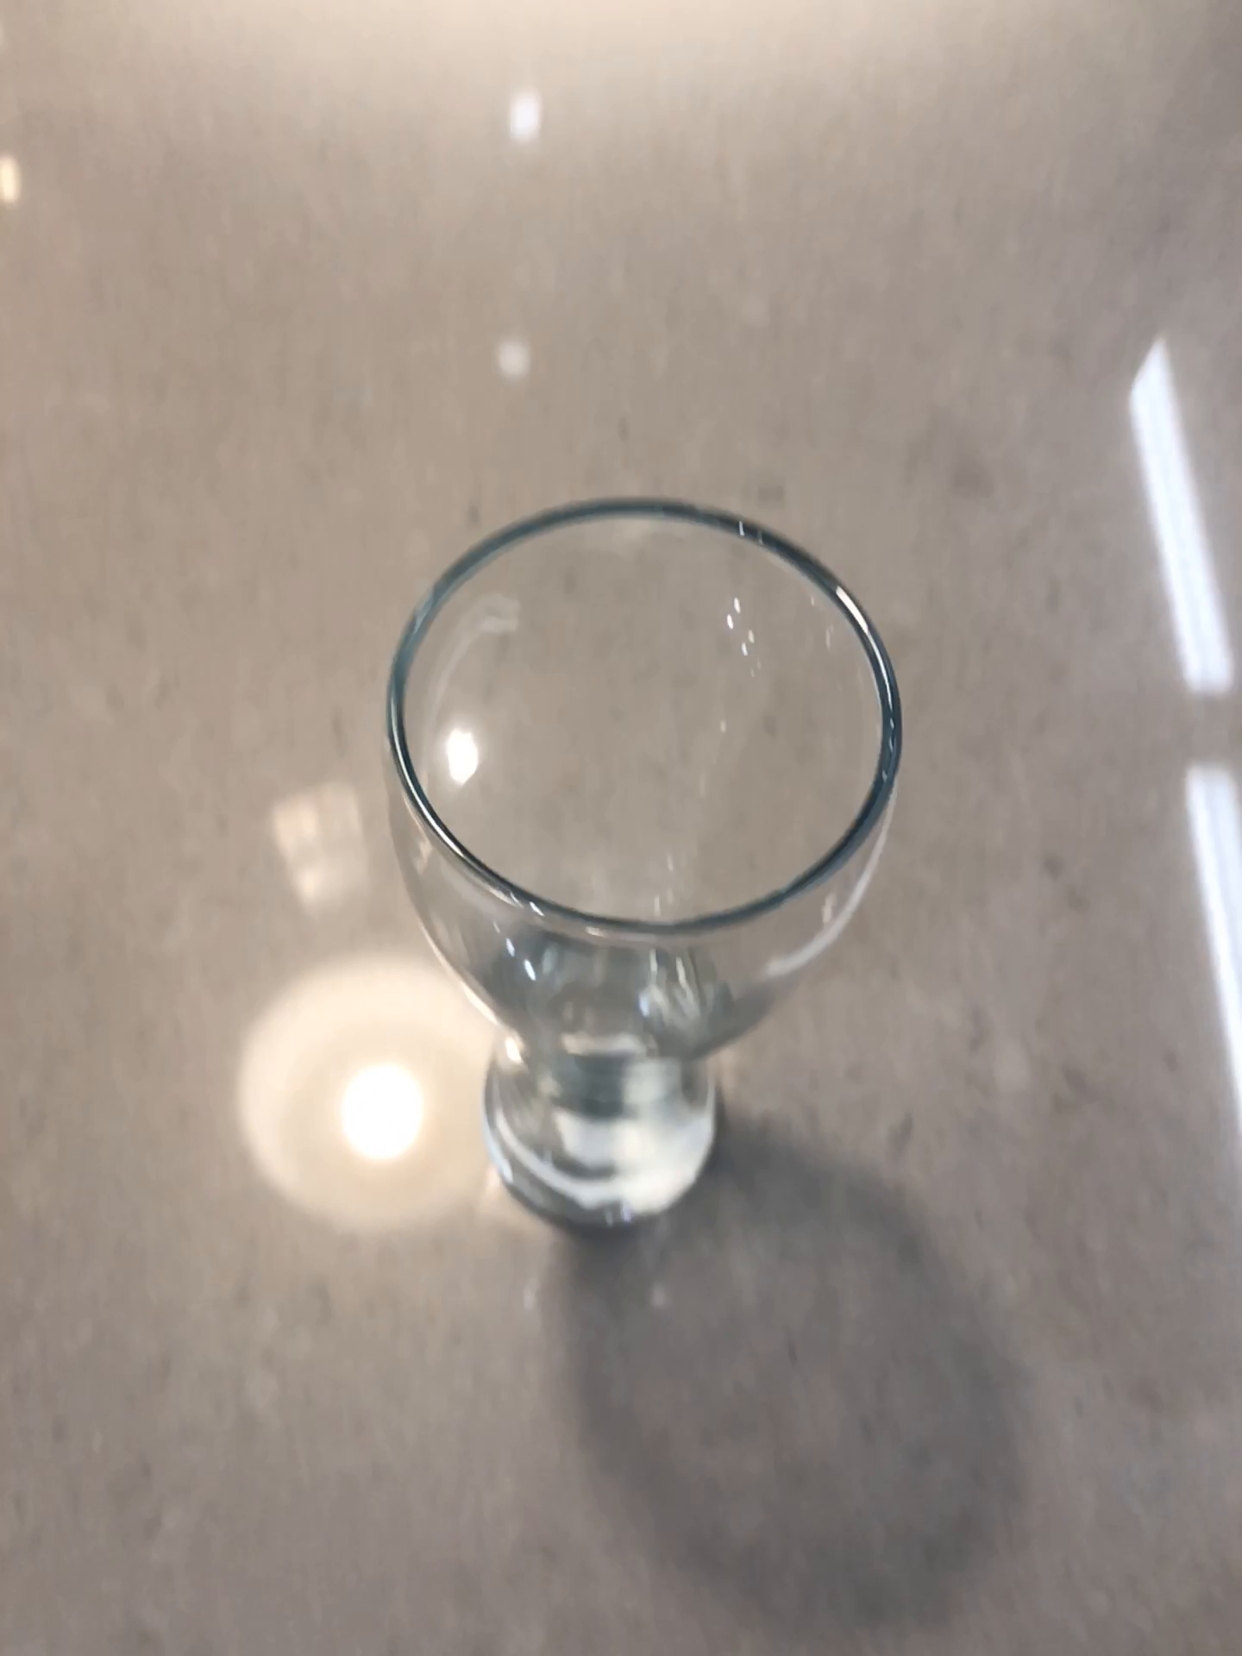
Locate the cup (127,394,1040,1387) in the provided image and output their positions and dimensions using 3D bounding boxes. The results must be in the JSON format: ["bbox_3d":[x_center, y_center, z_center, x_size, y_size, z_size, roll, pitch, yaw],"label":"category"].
[{"bbox_3d":[-0.012,0.036,0.312,0.100,0.220,0.100,1,62,-3],"label":"cup"}]
